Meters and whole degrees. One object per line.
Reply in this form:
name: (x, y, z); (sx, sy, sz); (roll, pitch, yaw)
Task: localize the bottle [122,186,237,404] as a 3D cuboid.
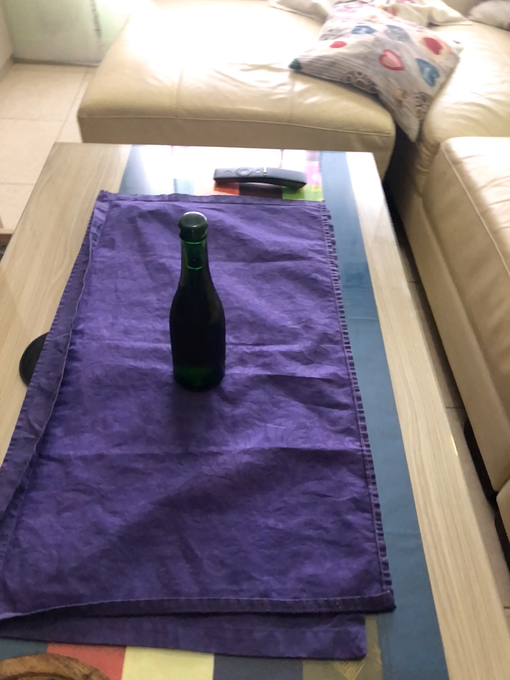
bottle: (-0.072, -0.037, 0.586); (0.080, 0.219, 0.070); (16, 48, 11)
